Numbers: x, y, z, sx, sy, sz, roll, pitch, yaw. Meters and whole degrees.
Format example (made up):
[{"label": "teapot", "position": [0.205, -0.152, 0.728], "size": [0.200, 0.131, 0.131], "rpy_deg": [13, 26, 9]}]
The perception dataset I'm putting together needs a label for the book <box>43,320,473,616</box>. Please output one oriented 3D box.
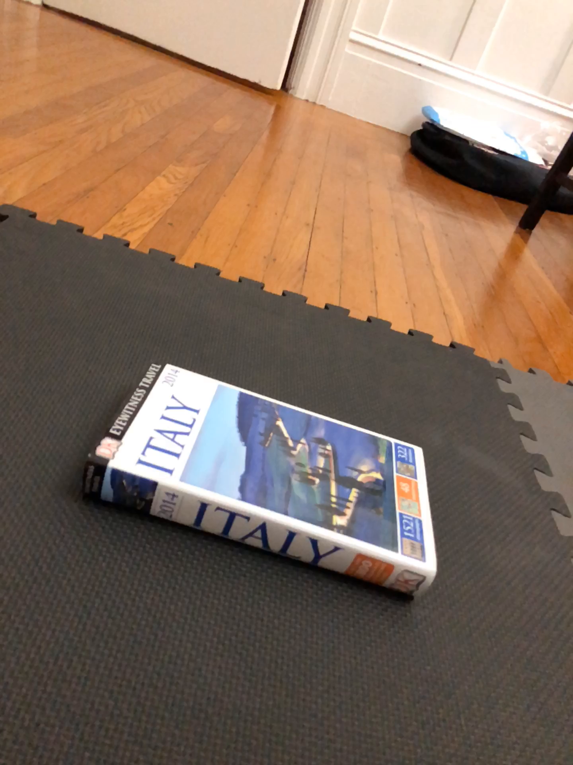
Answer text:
[{"label": "book", "position": [-0.009, 0.048, 0.432], "size": [0.250, 0.040, 0.161], "rpy_deg": [17, 31, -5]}]
